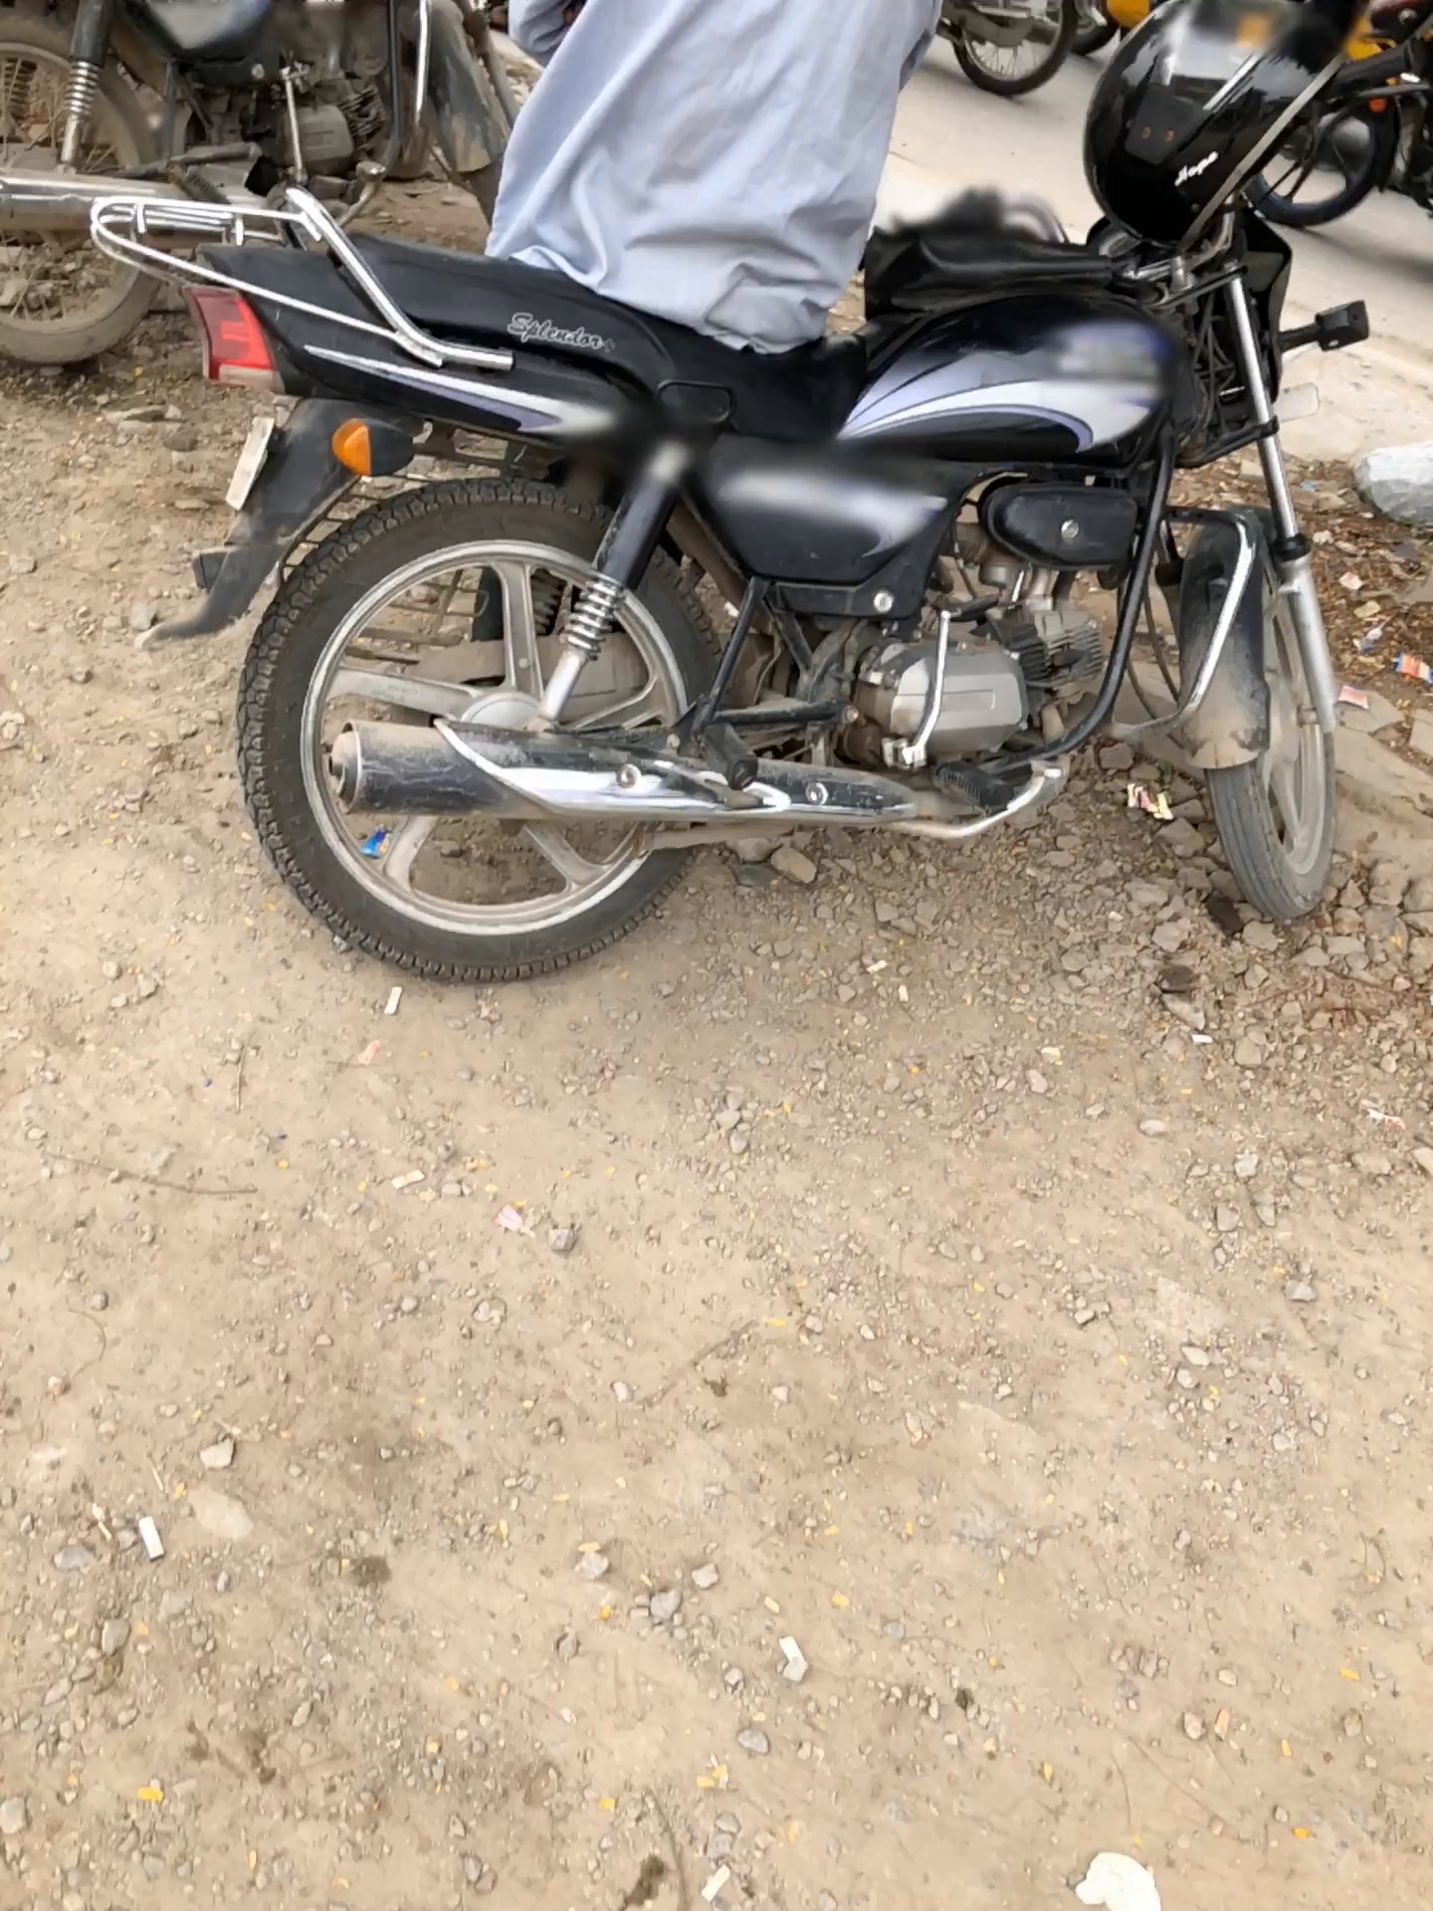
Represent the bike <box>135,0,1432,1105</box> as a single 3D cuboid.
[{"bbox_3d":[0.172,-0.644,2.001,1.599,1.170,0.741,-10,45,-27],"label":"bike"}]
